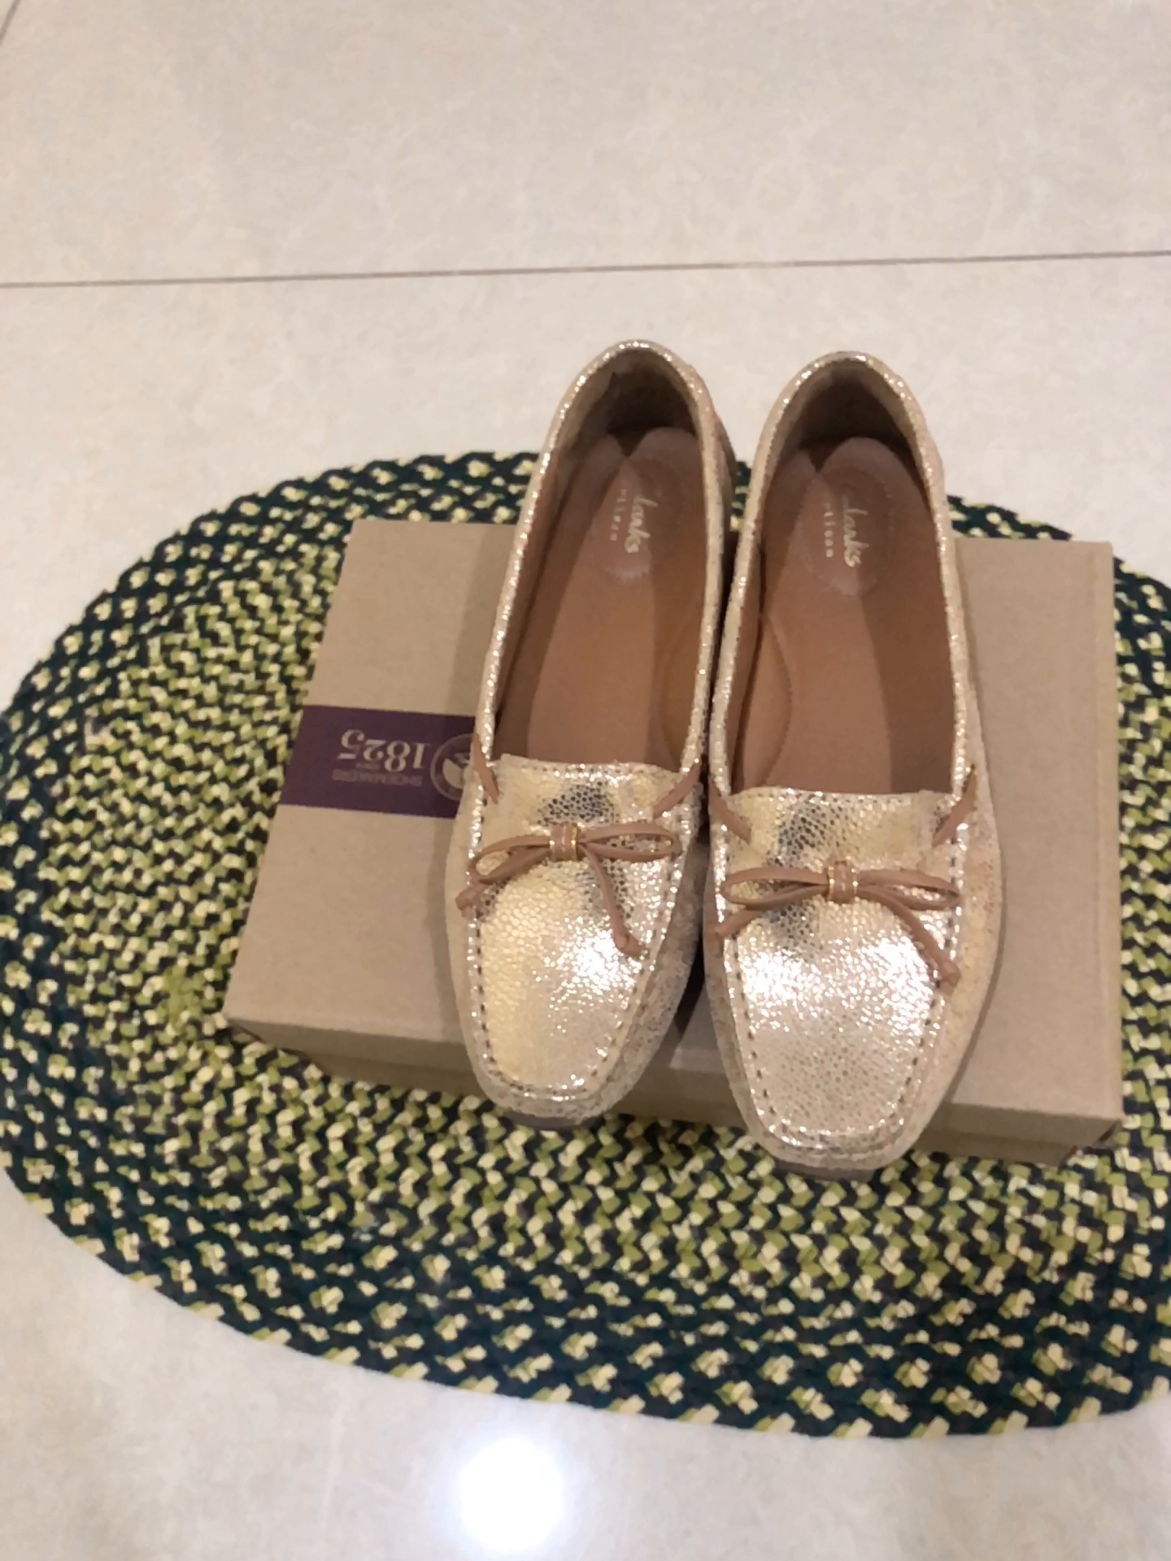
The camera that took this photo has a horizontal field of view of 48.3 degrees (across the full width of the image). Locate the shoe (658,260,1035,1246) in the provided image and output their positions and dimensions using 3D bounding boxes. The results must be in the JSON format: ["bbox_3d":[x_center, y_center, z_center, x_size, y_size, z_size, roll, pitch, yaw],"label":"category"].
[{"bbox_3d":[0.085,-0.026,0.409,0.090,0.060,0.310,4,65,9],"label":"shoe"}]

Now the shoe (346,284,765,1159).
[{"bbox_3d":[0.003,-0.032,0.418,0.090,0.060,0.280,4,65,9],"label":"shoe"}]
